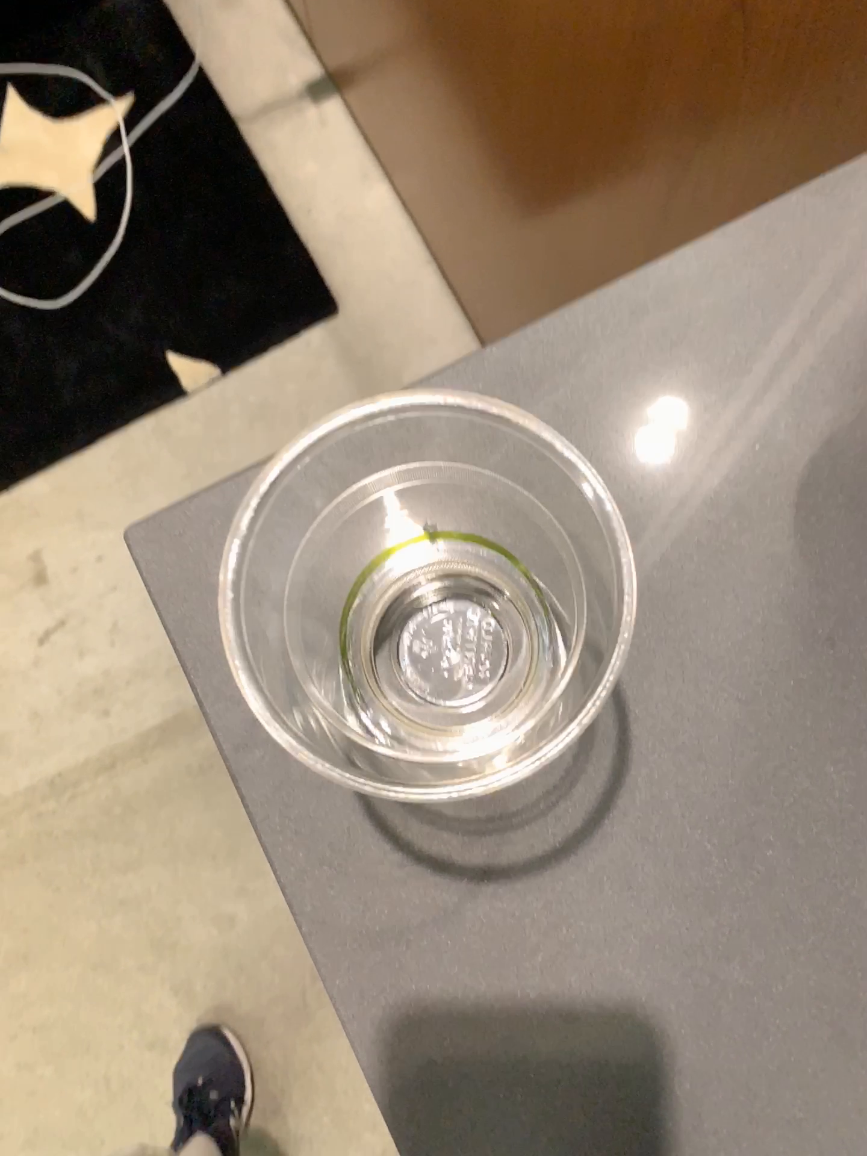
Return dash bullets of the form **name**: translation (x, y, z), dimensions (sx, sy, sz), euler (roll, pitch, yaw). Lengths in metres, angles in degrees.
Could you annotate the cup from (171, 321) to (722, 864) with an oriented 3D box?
- **cup**: translation (0.003, 0.012, 0.252), dimensions (0.090, 0.120, 0.090), euler (-1, 78, 3)
